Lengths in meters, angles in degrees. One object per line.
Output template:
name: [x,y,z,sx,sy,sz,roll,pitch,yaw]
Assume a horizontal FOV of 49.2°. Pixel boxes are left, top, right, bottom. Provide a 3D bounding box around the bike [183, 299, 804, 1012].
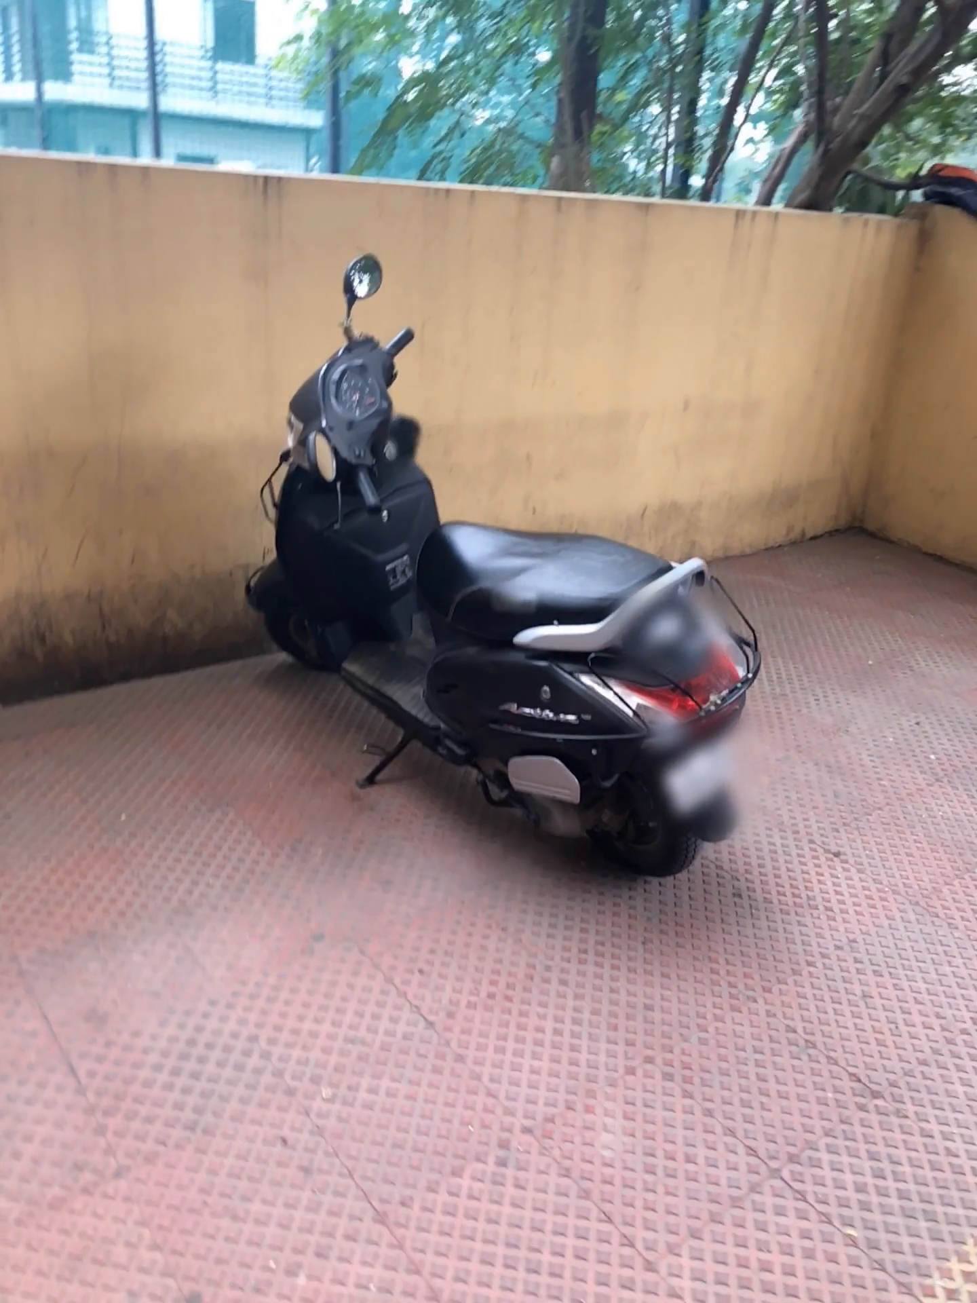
bike: [-0.119,-0.146,2.595,0.580,1.139,1.485,-16,31,-39]
